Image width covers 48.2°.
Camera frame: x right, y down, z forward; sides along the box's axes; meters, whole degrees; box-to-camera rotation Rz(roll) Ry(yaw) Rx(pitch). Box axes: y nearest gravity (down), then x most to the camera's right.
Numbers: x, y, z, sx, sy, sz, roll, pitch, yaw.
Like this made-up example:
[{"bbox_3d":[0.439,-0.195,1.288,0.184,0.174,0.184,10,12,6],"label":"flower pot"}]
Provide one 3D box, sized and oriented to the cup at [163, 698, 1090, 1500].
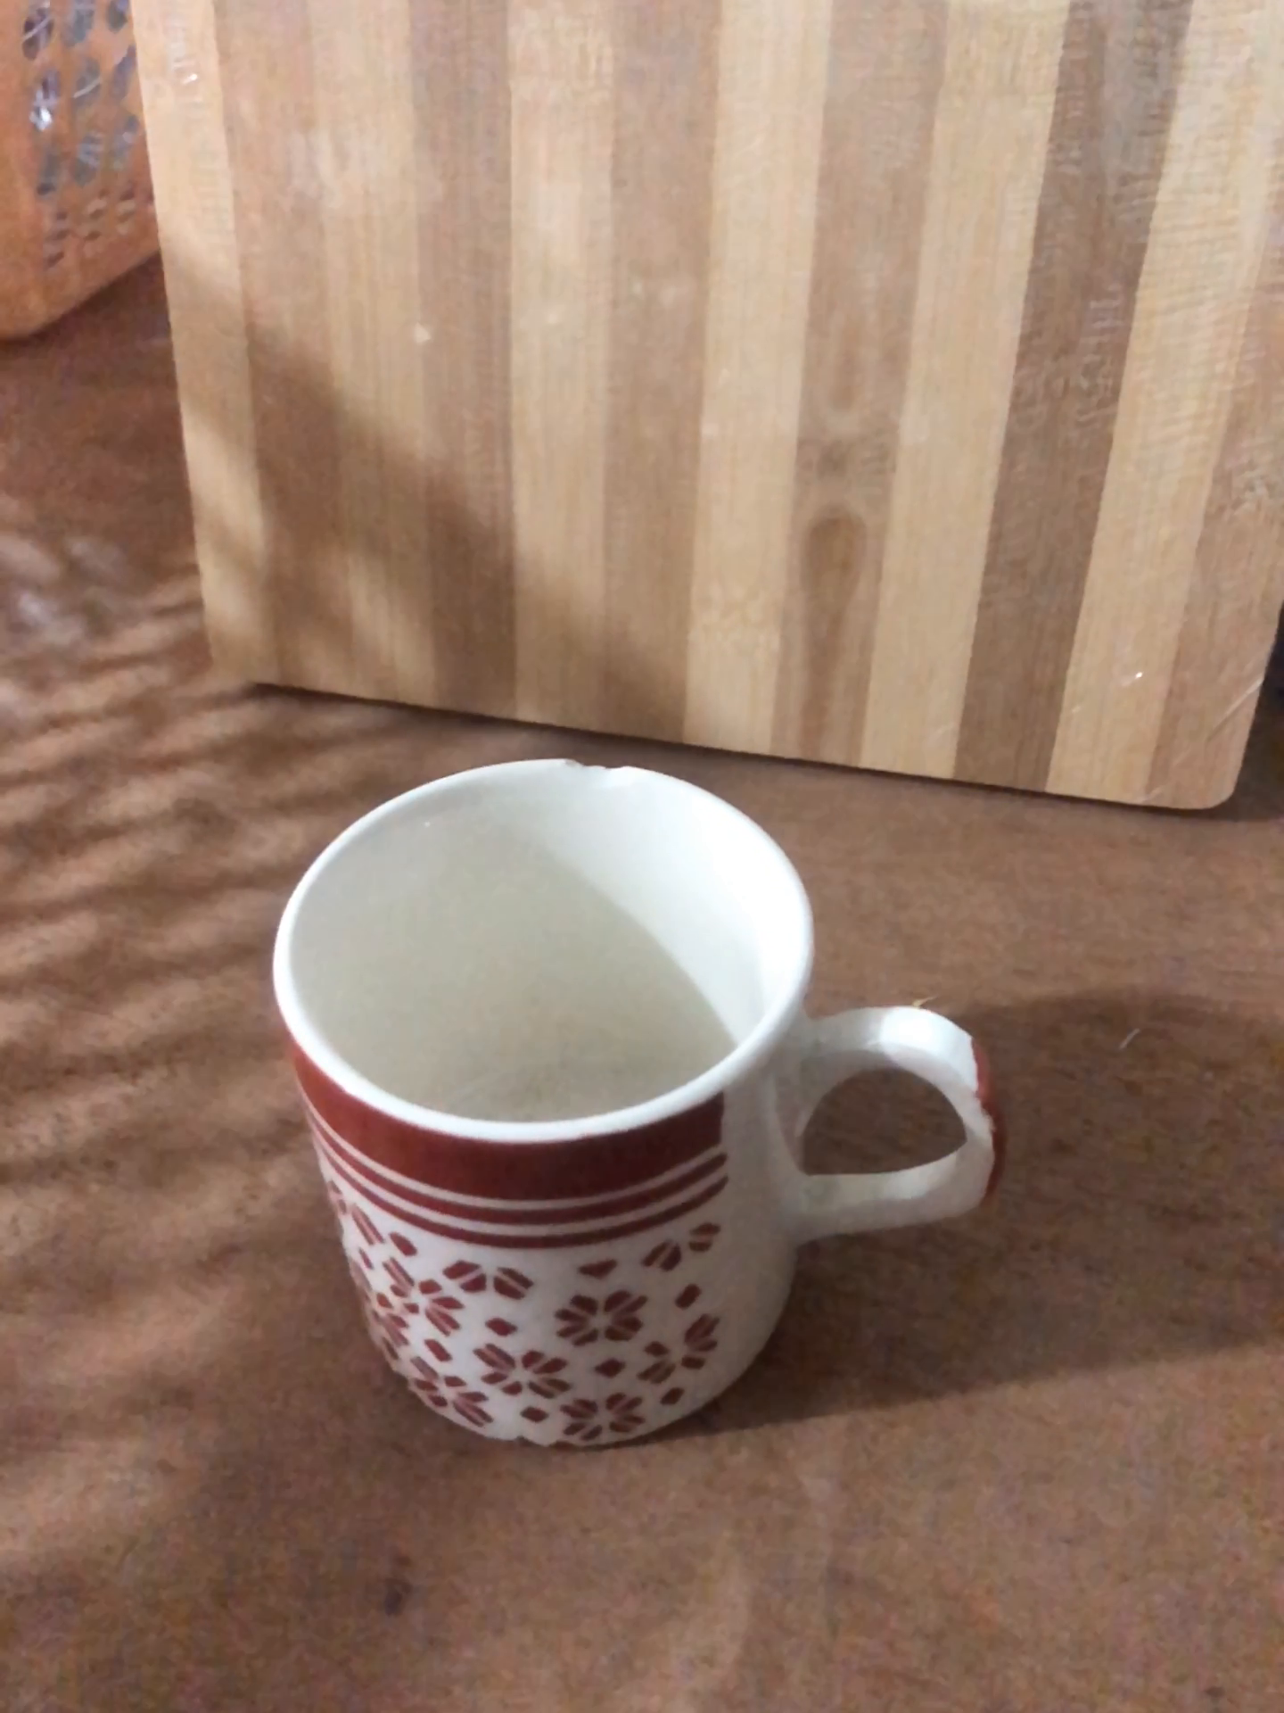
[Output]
[{"bbox_3d":[0.002,0.029,0.187,0.090,0.070,0.070,2,41,6],"label":"cup"}]
